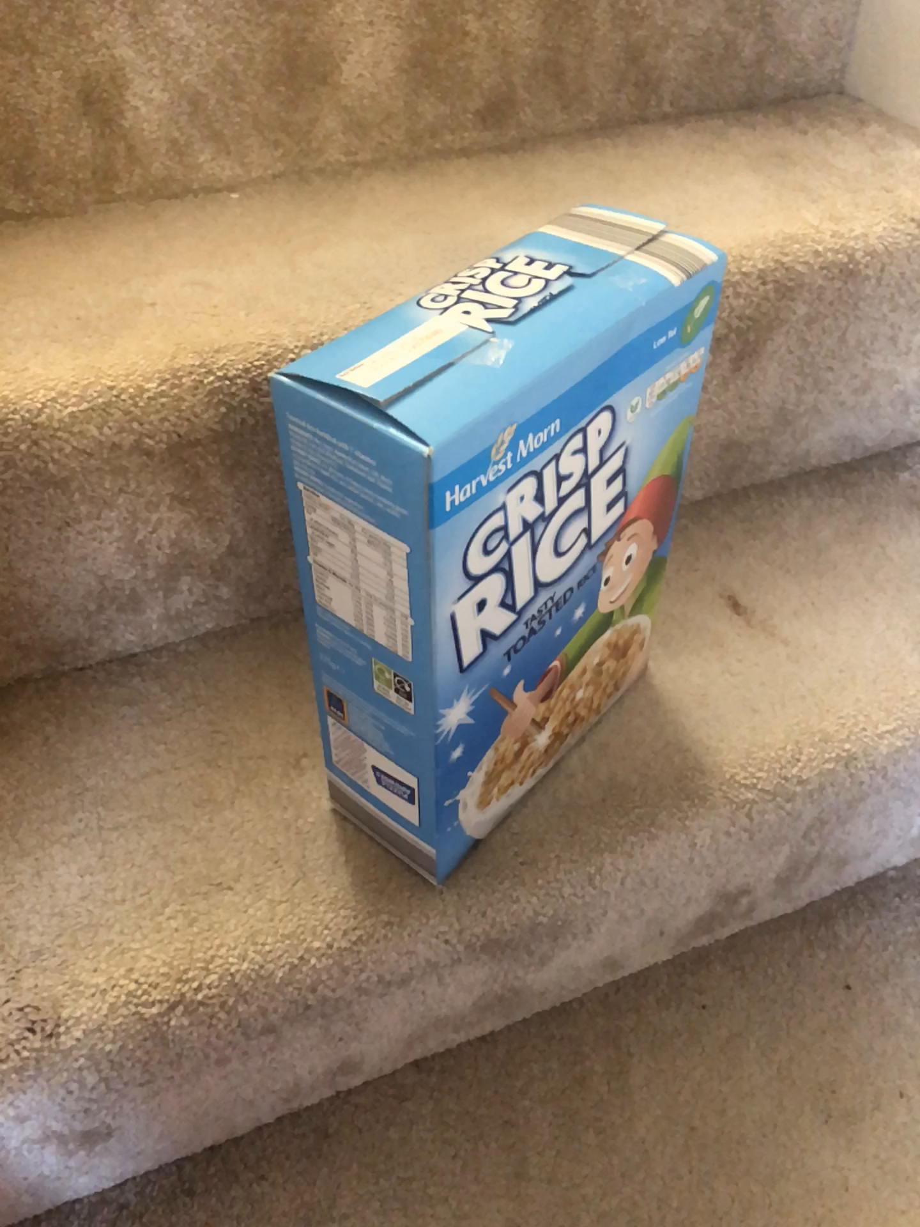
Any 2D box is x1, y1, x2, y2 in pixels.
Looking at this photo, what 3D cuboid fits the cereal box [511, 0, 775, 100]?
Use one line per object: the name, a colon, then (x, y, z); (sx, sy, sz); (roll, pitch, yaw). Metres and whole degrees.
cereal box: (0.673, -2.775, 4.165); (0.760, 0.993, 0.795); (-6, 43, -6)
